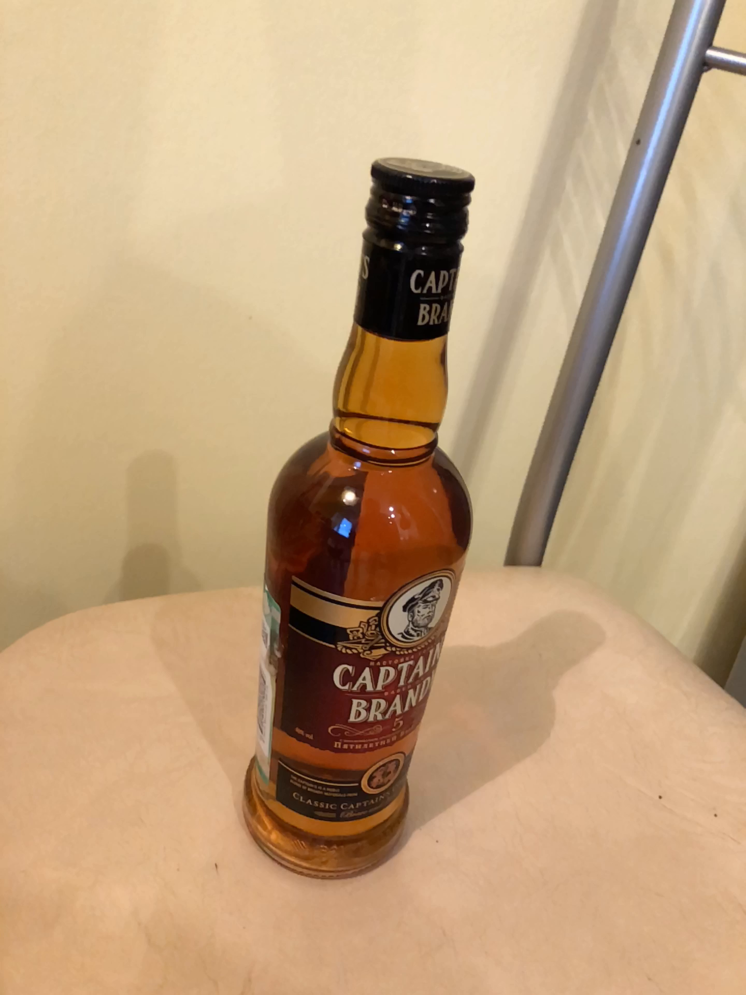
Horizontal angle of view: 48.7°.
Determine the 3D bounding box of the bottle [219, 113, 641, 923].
[{"bbox_3d":[0.001,0.019,0.276,0.080,0.258,0.070,-15,38,-31],"label":"bottle"}]
